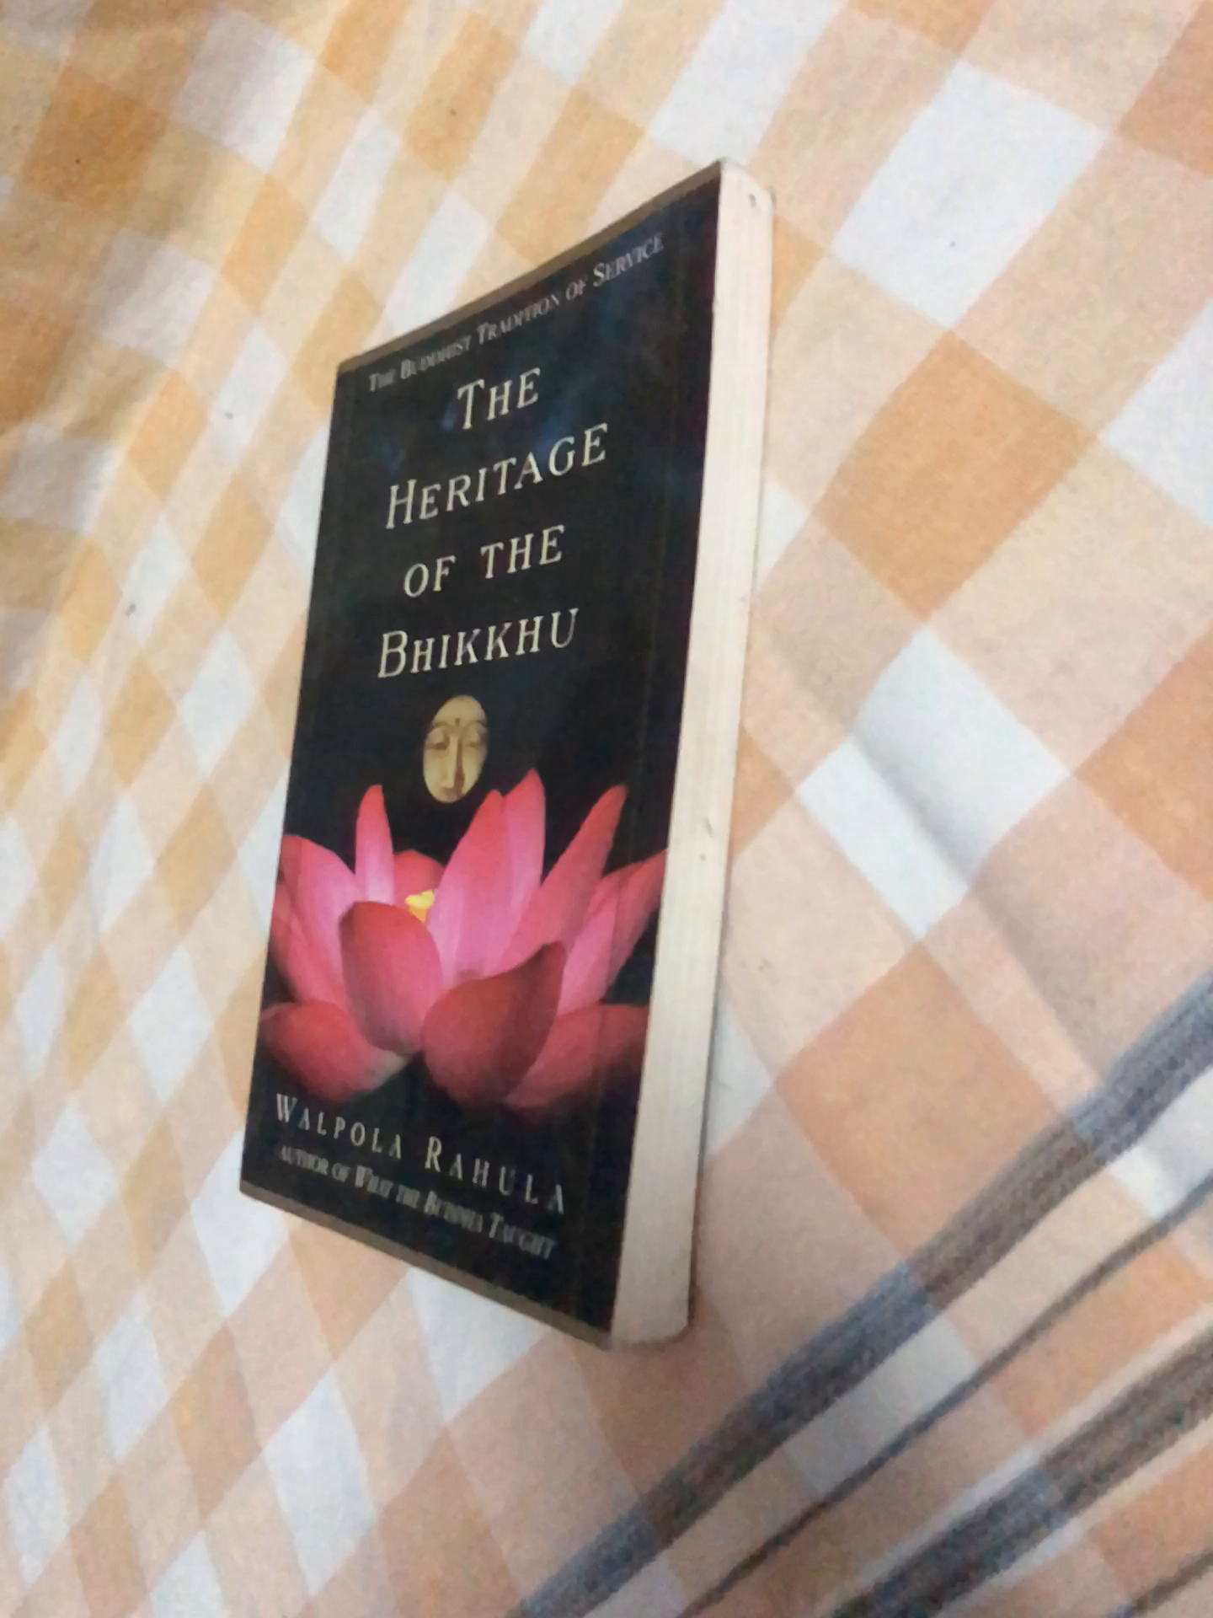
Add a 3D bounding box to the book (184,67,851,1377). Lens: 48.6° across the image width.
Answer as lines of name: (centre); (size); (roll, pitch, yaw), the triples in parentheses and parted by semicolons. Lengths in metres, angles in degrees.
book: (-0.025, -0.017, 0.281); (0.141, 0.030, 0.220); (-2, 78, 46)
